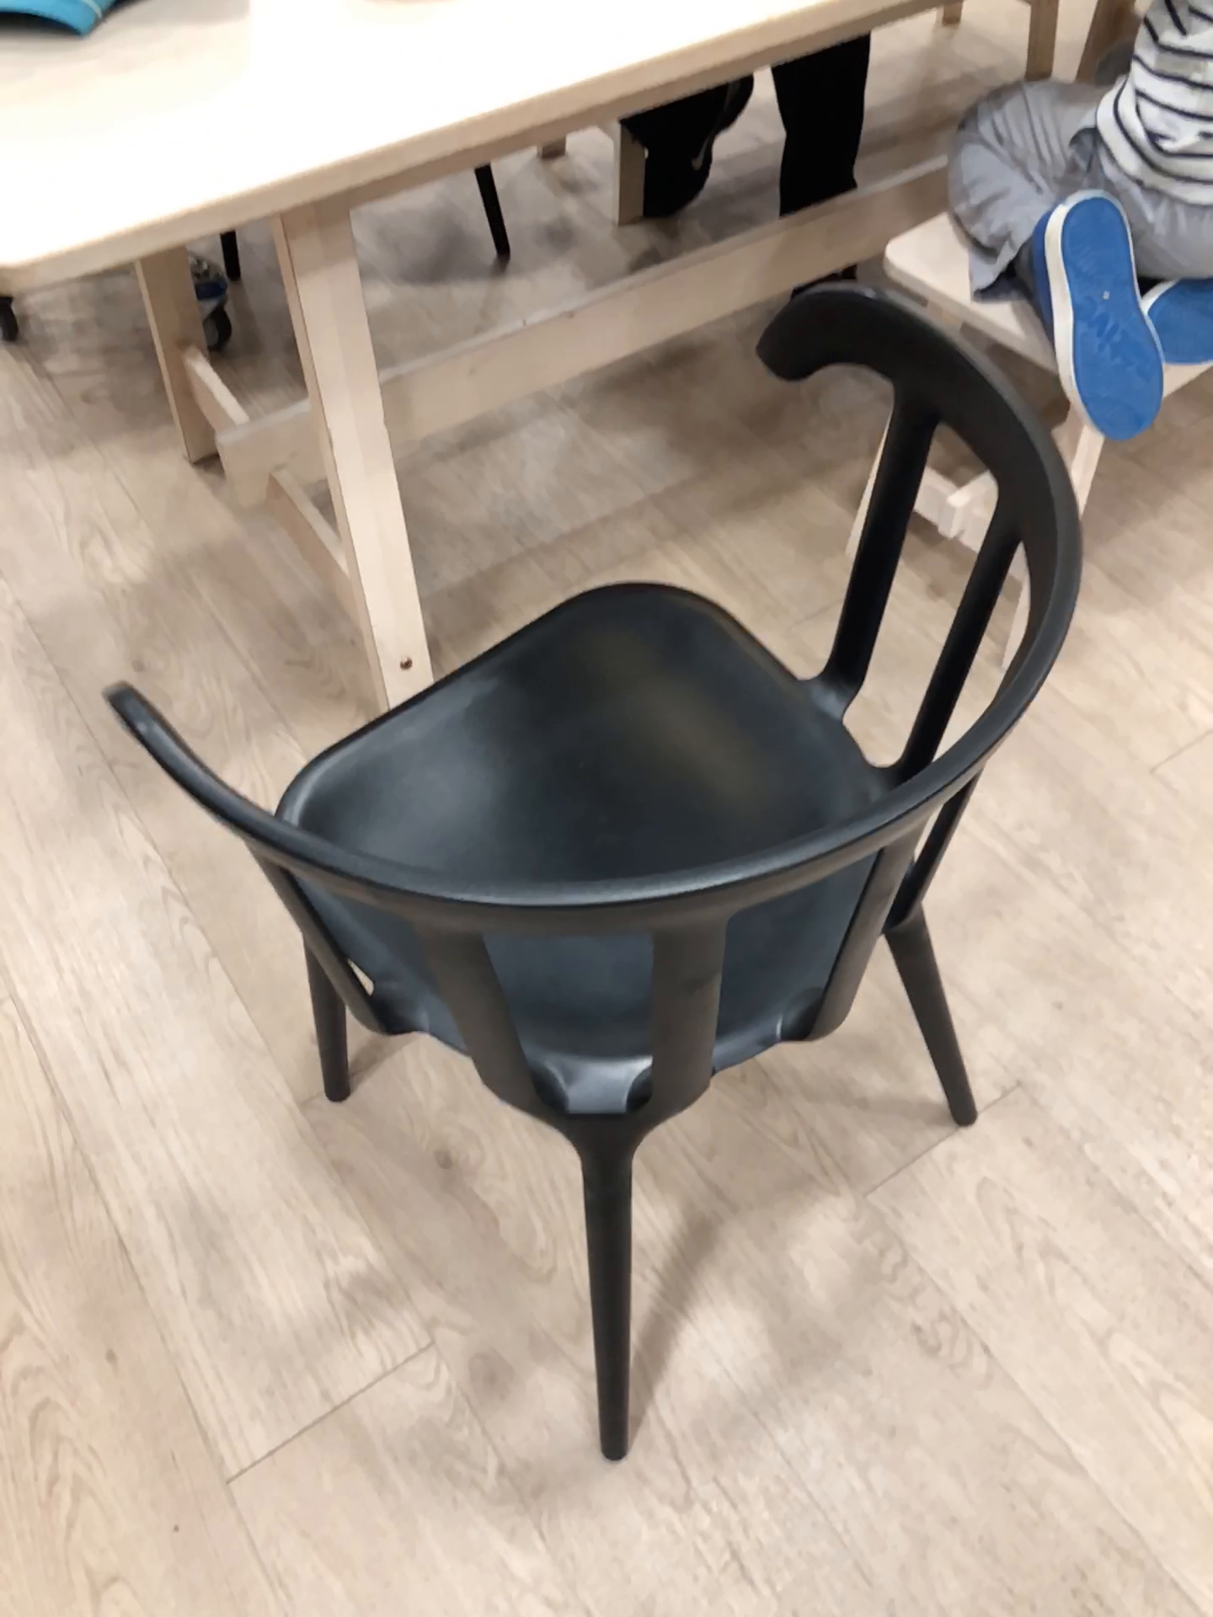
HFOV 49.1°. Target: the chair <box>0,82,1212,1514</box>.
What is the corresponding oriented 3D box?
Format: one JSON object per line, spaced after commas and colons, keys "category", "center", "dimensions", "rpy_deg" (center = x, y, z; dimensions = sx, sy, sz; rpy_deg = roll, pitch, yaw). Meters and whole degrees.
{"category": "chair", "center": [0.021, 0.021, 0.937], "dimensions": [0.531, 0.686, 0.532], "rpy_deg": [-35, 60, -22]}
